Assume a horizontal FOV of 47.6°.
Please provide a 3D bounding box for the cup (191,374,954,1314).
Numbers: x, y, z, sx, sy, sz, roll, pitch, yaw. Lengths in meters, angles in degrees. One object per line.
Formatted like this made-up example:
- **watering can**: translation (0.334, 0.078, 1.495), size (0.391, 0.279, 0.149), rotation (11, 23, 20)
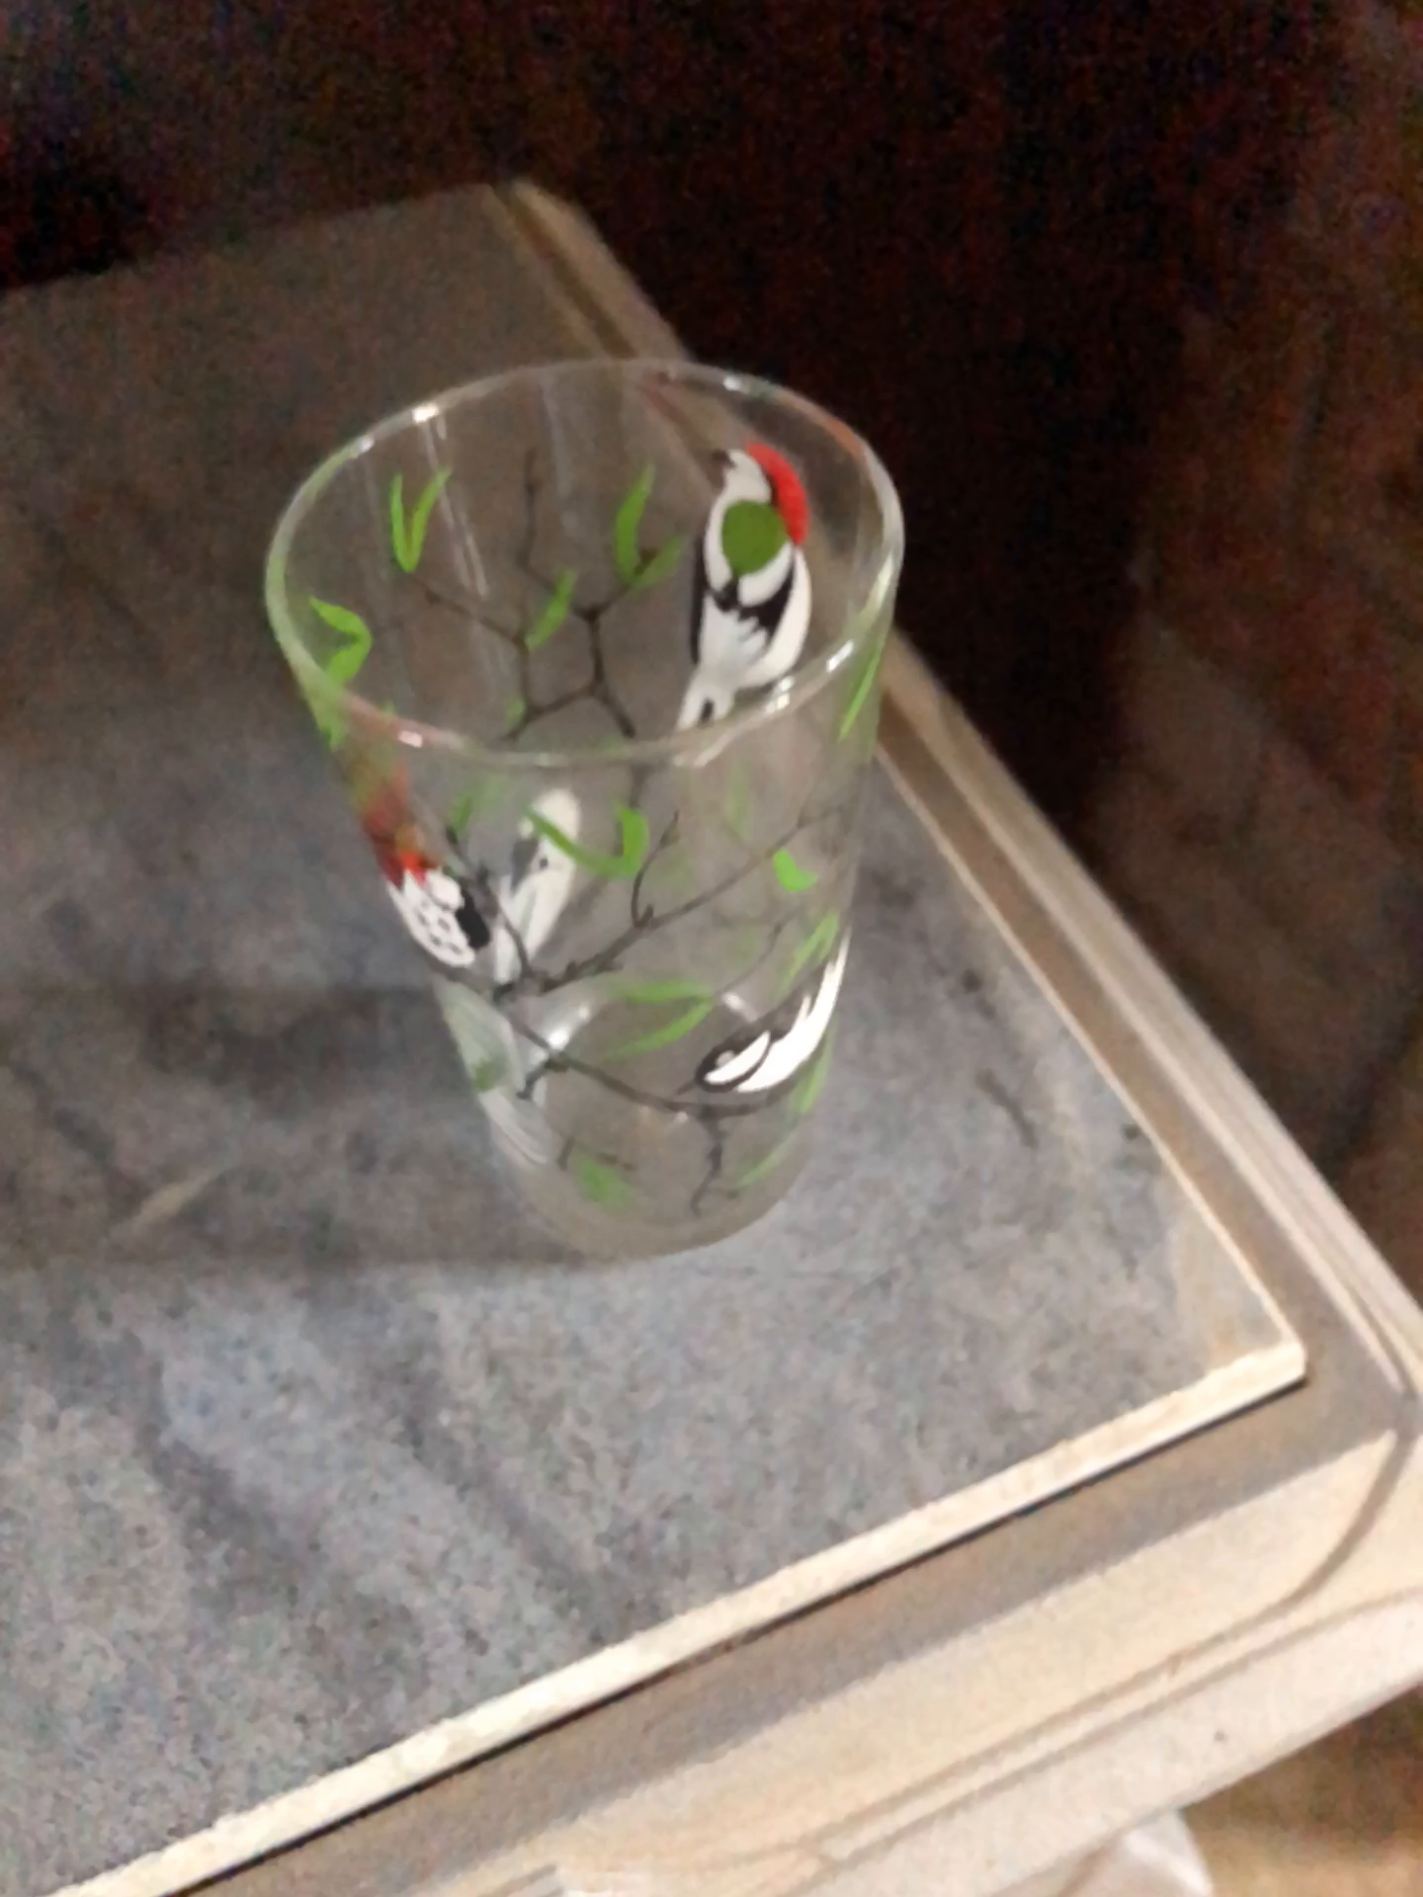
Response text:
- **cup**: translation (-0.008, -0.008, 0.209), size (0.070, 0.109, 0.060), rotation (3, 51, 6)
